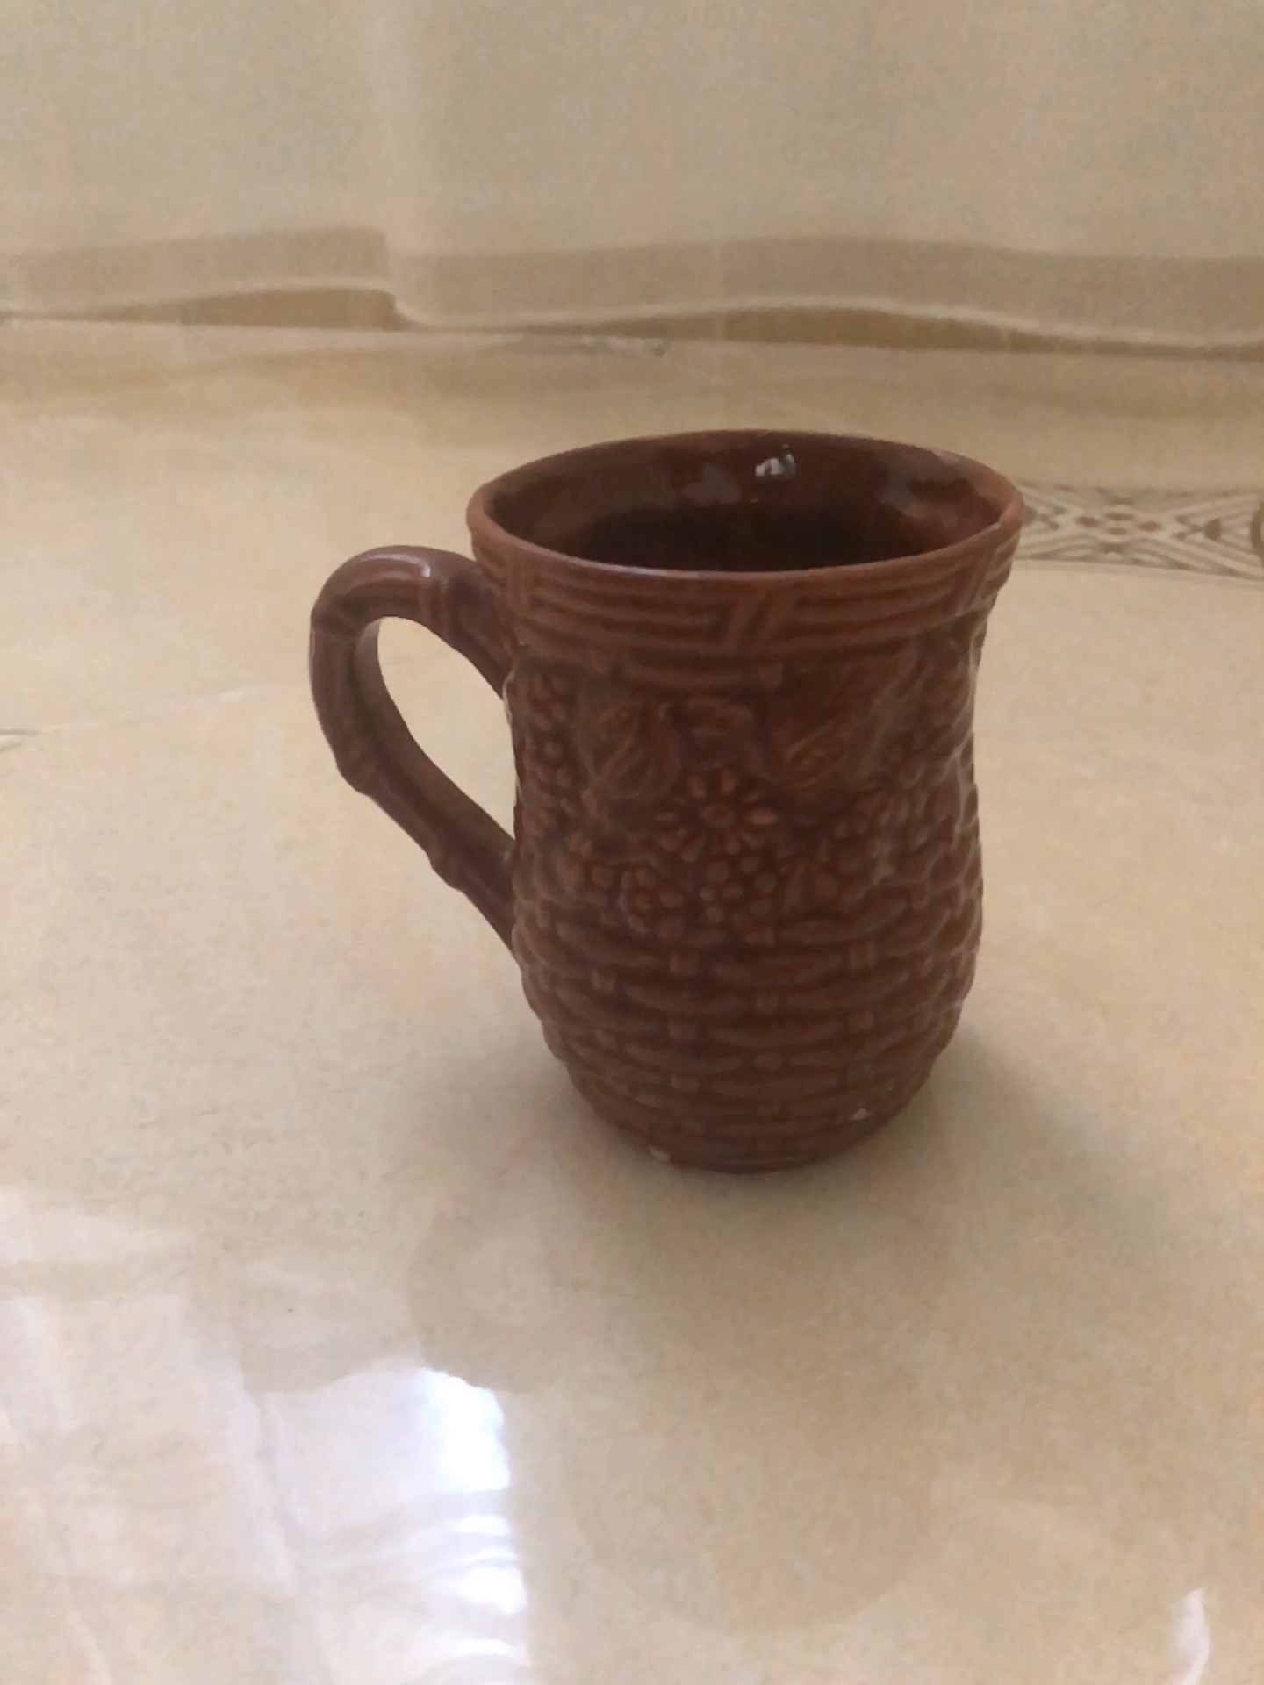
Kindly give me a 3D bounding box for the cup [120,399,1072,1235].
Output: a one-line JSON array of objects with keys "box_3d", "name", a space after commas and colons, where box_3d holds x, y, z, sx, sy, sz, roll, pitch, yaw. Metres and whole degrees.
[{"box_3d": [-0.001, -0.013, 0.205, 0.104, 0.081, 0.073, 12, 31, 25], "name": "cup"}]
